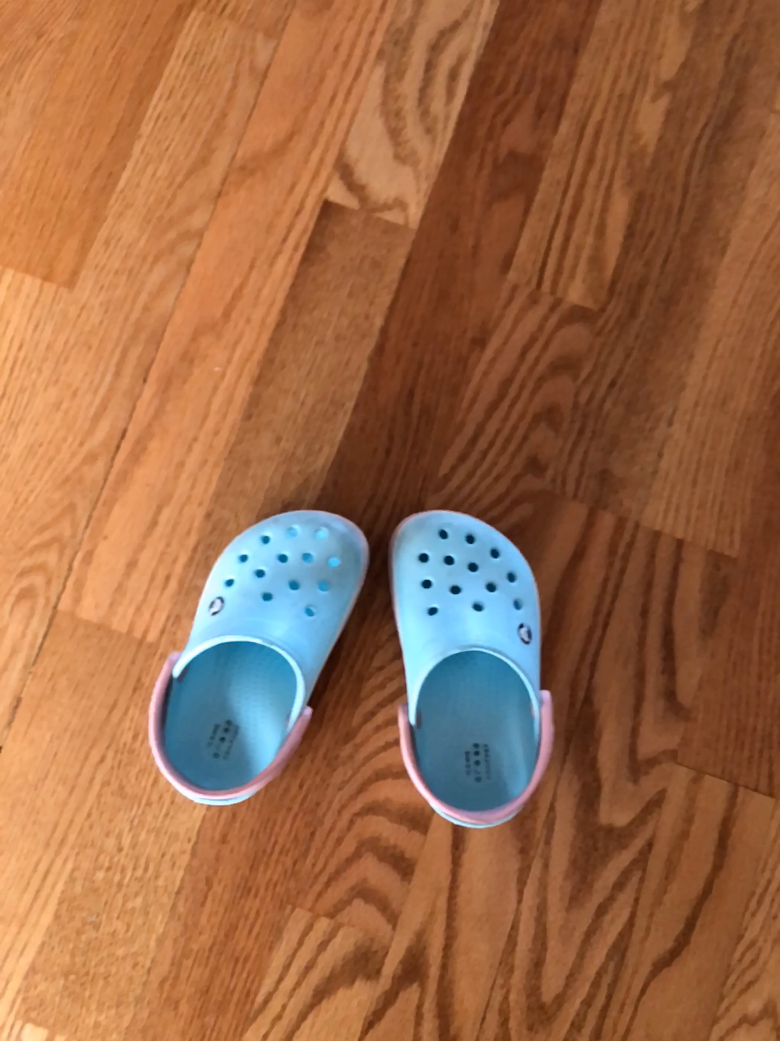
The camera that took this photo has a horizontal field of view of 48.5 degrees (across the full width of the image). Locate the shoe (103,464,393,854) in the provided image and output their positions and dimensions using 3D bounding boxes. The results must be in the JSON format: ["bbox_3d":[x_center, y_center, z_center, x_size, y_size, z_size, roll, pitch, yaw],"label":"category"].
[{"bbox_3d":[-0.067,0.067,0.441,0.083,0.057,0.165,20,83,1],"label":"shoe"}]

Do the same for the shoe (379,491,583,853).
[{"bbox_3d":[0.042,0.073,0.439,0.083,0.048,0.165,-4,83,-2],"label":"shoe"}]
